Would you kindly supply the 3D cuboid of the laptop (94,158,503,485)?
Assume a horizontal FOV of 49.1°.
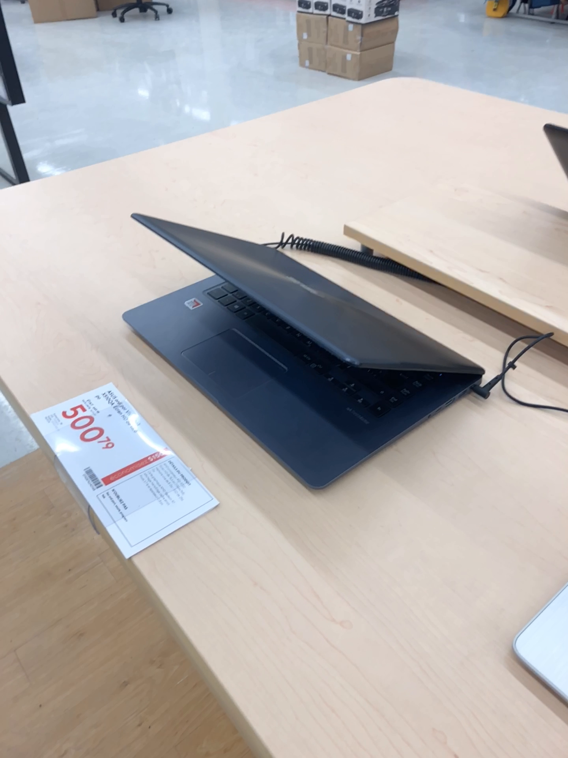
[{"bbox_3d":[0.002,-0.091,0.664,0.232,0.136,0.346,-29,47,-29],"label":"laptop"}]
